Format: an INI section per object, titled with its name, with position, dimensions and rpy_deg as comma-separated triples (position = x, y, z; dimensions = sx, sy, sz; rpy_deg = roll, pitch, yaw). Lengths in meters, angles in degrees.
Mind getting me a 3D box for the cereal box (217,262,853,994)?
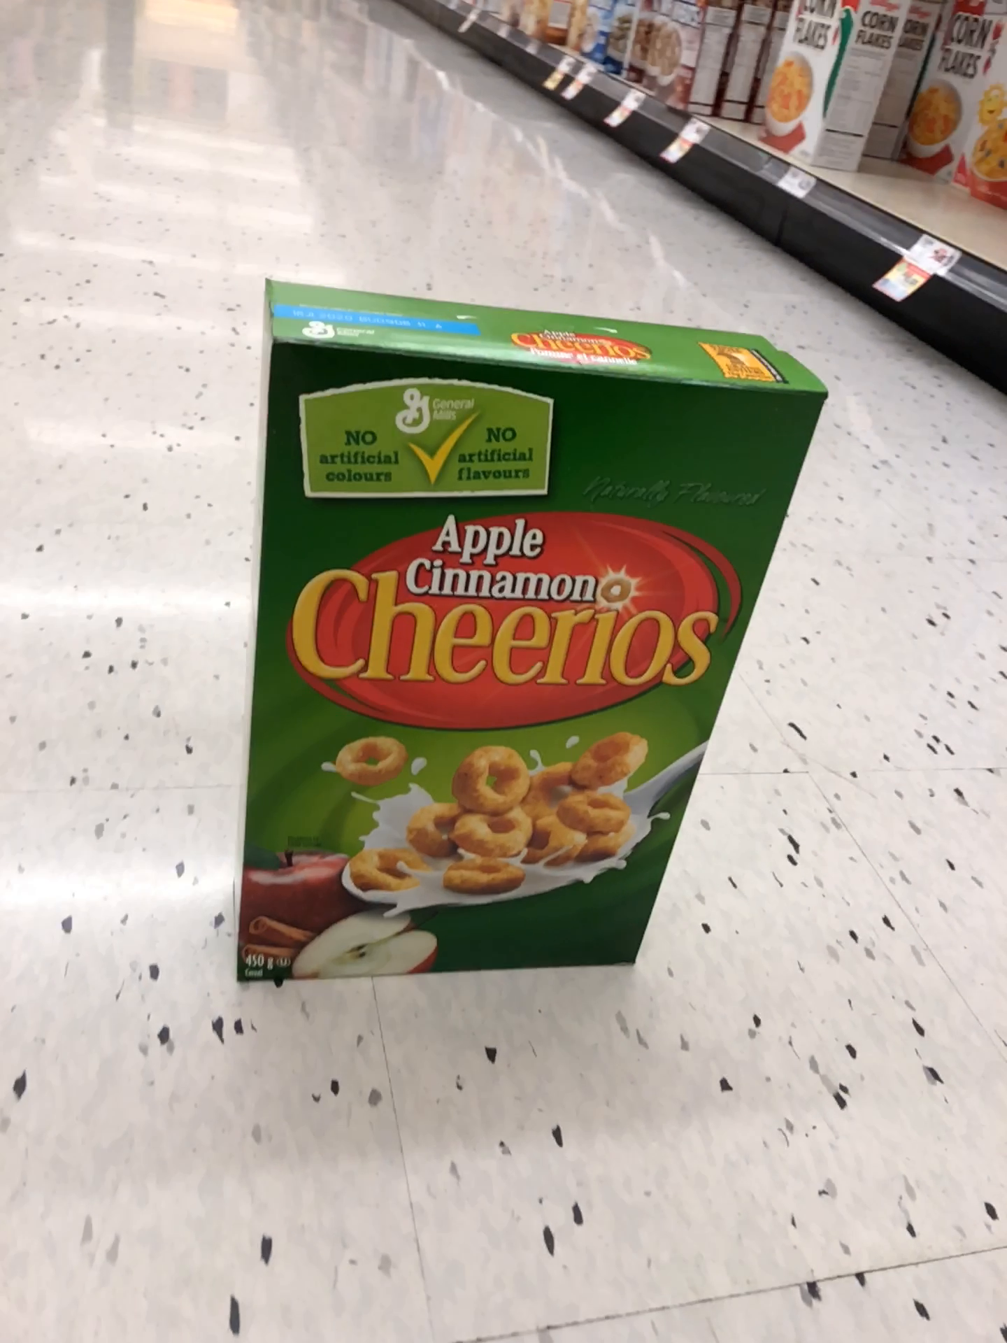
[cereal box]
position = -0.009, 0.003, 0.431
dimensions = 0.190, 0.278, 0.060
rpy_deg = 1, 34, -16
